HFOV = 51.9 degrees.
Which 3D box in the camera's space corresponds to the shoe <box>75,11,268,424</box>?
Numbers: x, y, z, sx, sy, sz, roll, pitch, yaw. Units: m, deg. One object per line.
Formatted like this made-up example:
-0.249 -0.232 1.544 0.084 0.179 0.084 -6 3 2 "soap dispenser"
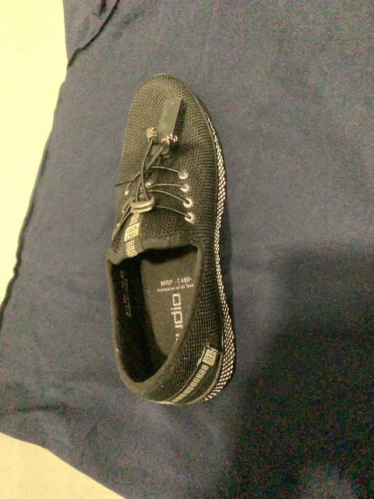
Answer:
-0.015 -0.021 0.322 0.100 0.090 0.290 -11 79 26 "shoe"
